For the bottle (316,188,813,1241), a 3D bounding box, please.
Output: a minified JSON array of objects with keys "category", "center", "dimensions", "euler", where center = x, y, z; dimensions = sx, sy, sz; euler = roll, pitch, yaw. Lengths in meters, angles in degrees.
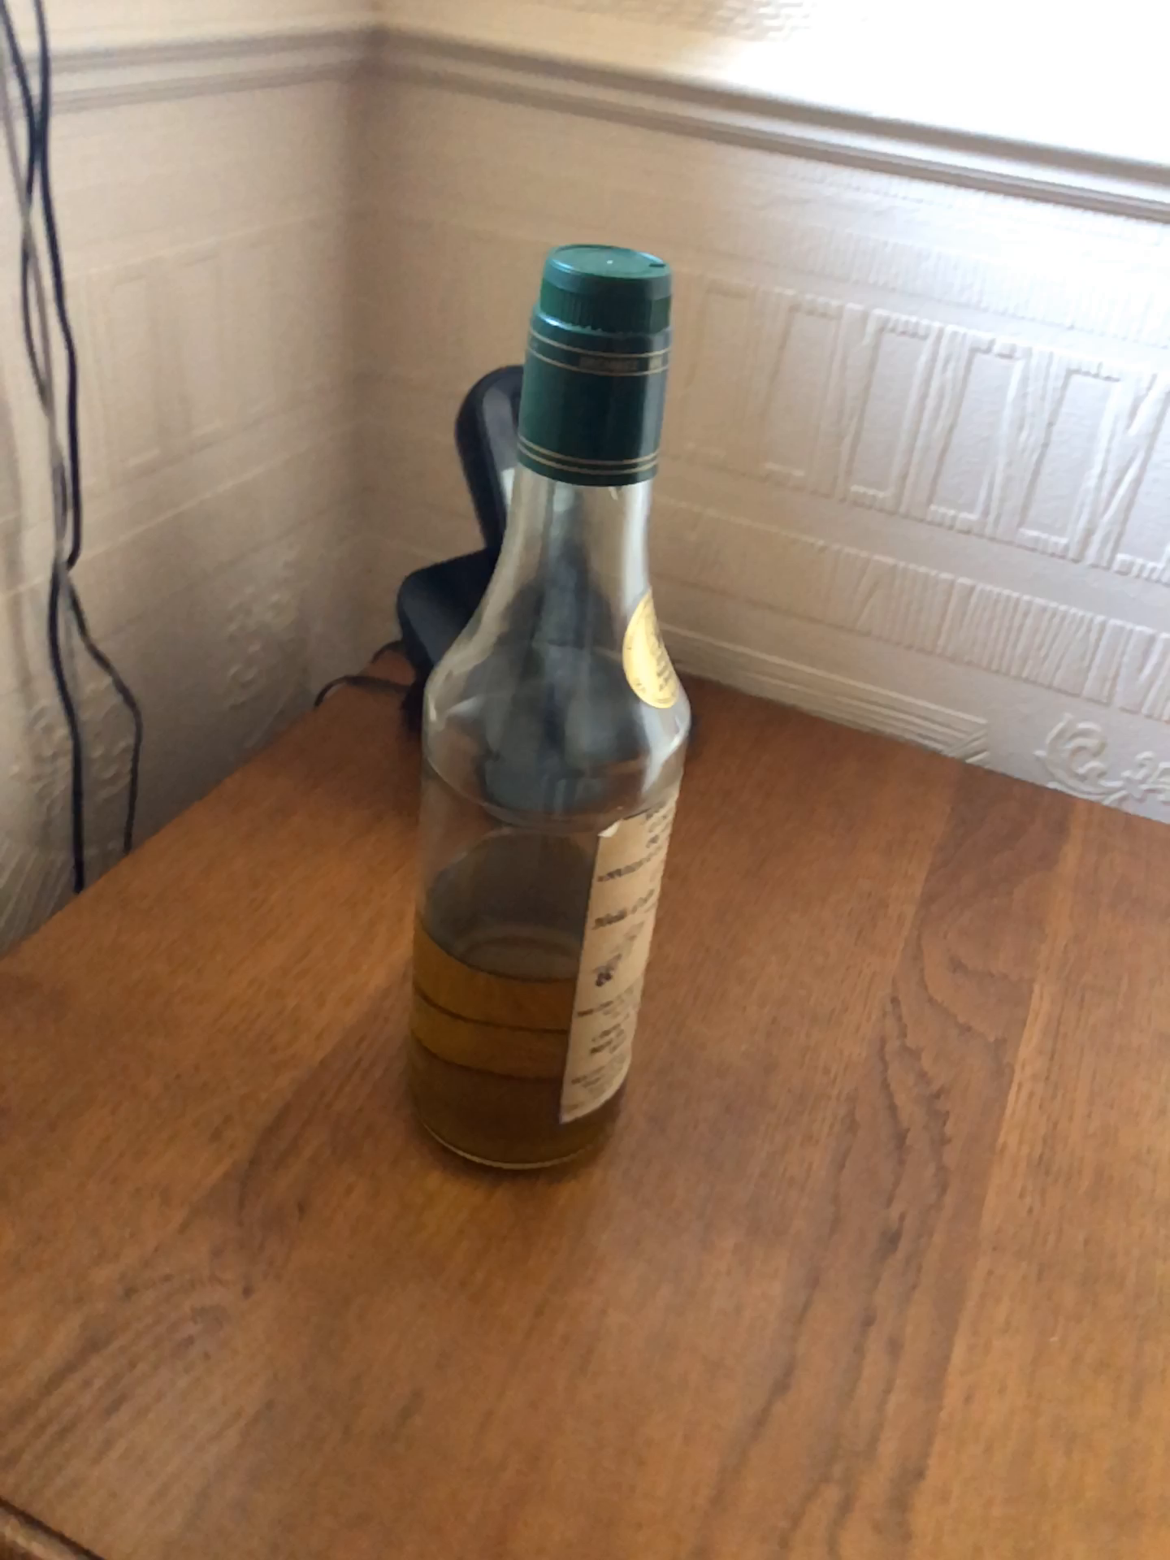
[{"category":"bottle","center":[-0.014,-0.003,0.337],"dimensions":[0.080,0.258,0.071],"euler":[19,36,16]}]
